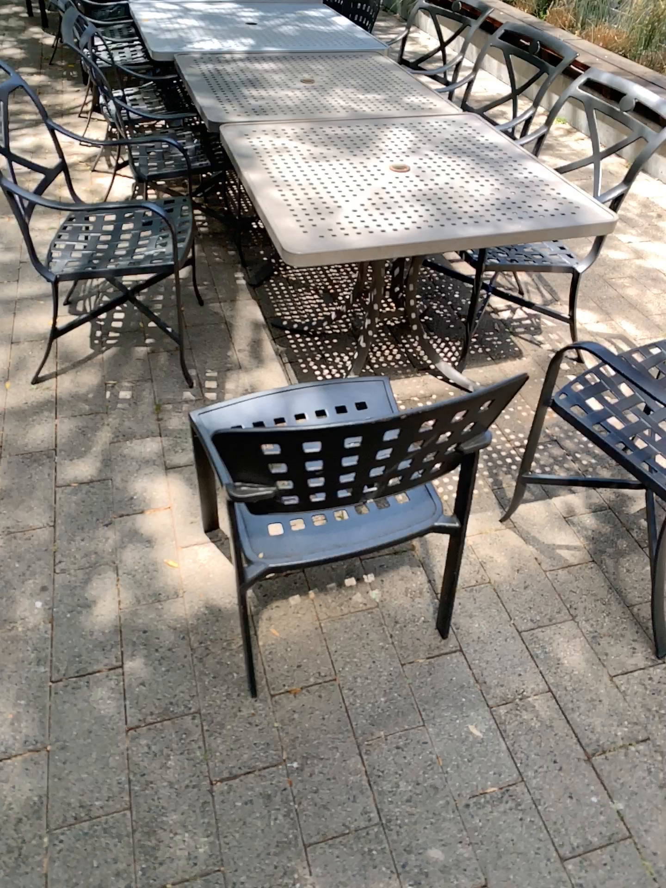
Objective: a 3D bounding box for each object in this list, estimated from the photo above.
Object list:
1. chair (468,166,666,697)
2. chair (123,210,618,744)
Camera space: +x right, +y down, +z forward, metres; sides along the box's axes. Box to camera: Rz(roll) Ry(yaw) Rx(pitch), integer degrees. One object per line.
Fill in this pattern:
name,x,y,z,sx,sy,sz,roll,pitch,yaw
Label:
chair,0.812,-0.058,1.467,0.621,0.755,0.653,-26,50,-28
chair,-0.001,0.037,1.361,0.620,0.706,0.654,-13,45,-17
